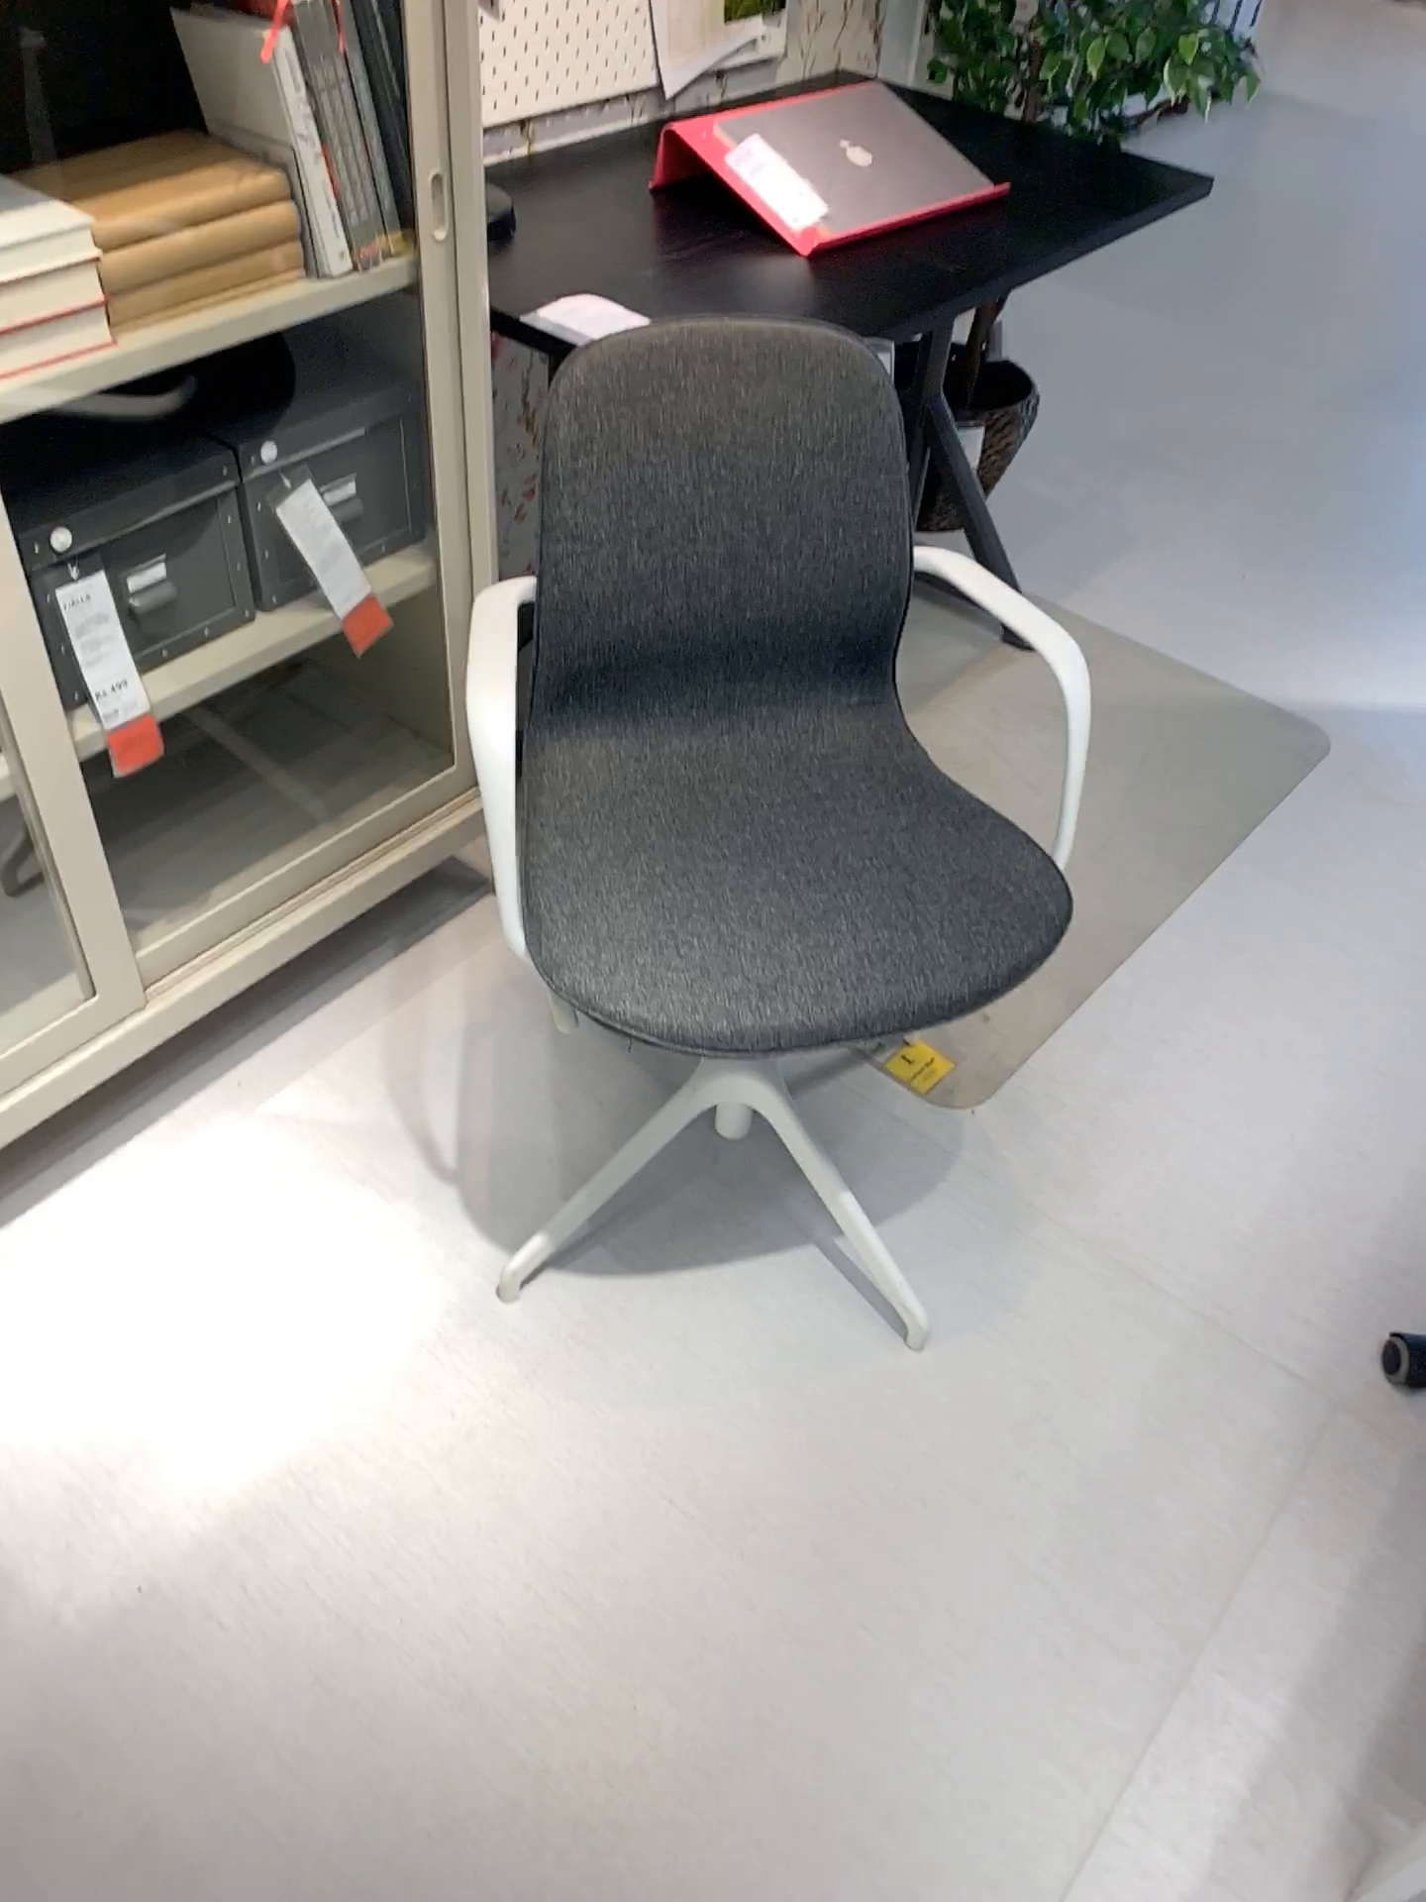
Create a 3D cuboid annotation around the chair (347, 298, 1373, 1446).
[{"bbox_3d":[0.037,-0.080,1.428,0.620,0.837,0.642,-9,46,-15],"label":"chair"}]
